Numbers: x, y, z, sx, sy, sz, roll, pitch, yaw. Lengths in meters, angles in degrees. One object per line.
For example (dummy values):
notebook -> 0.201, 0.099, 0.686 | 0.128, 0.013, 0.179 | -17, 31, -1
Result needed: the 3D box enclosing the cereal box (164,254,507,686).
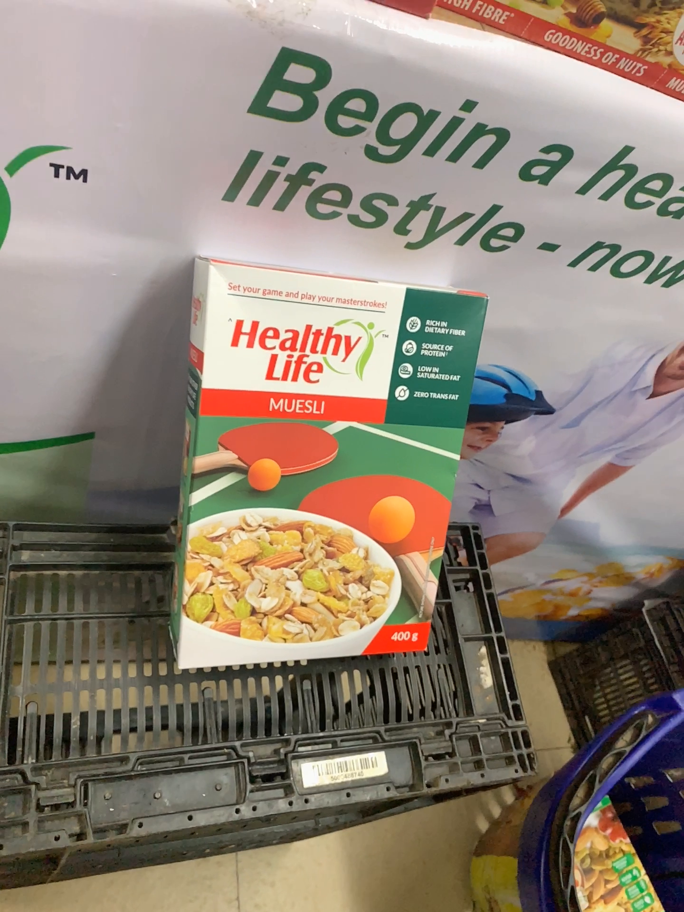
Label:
cereal box -> -0.012, 0.007, 0.428 | 0.170, 0.230, 0.080 | 1, 14, -20
